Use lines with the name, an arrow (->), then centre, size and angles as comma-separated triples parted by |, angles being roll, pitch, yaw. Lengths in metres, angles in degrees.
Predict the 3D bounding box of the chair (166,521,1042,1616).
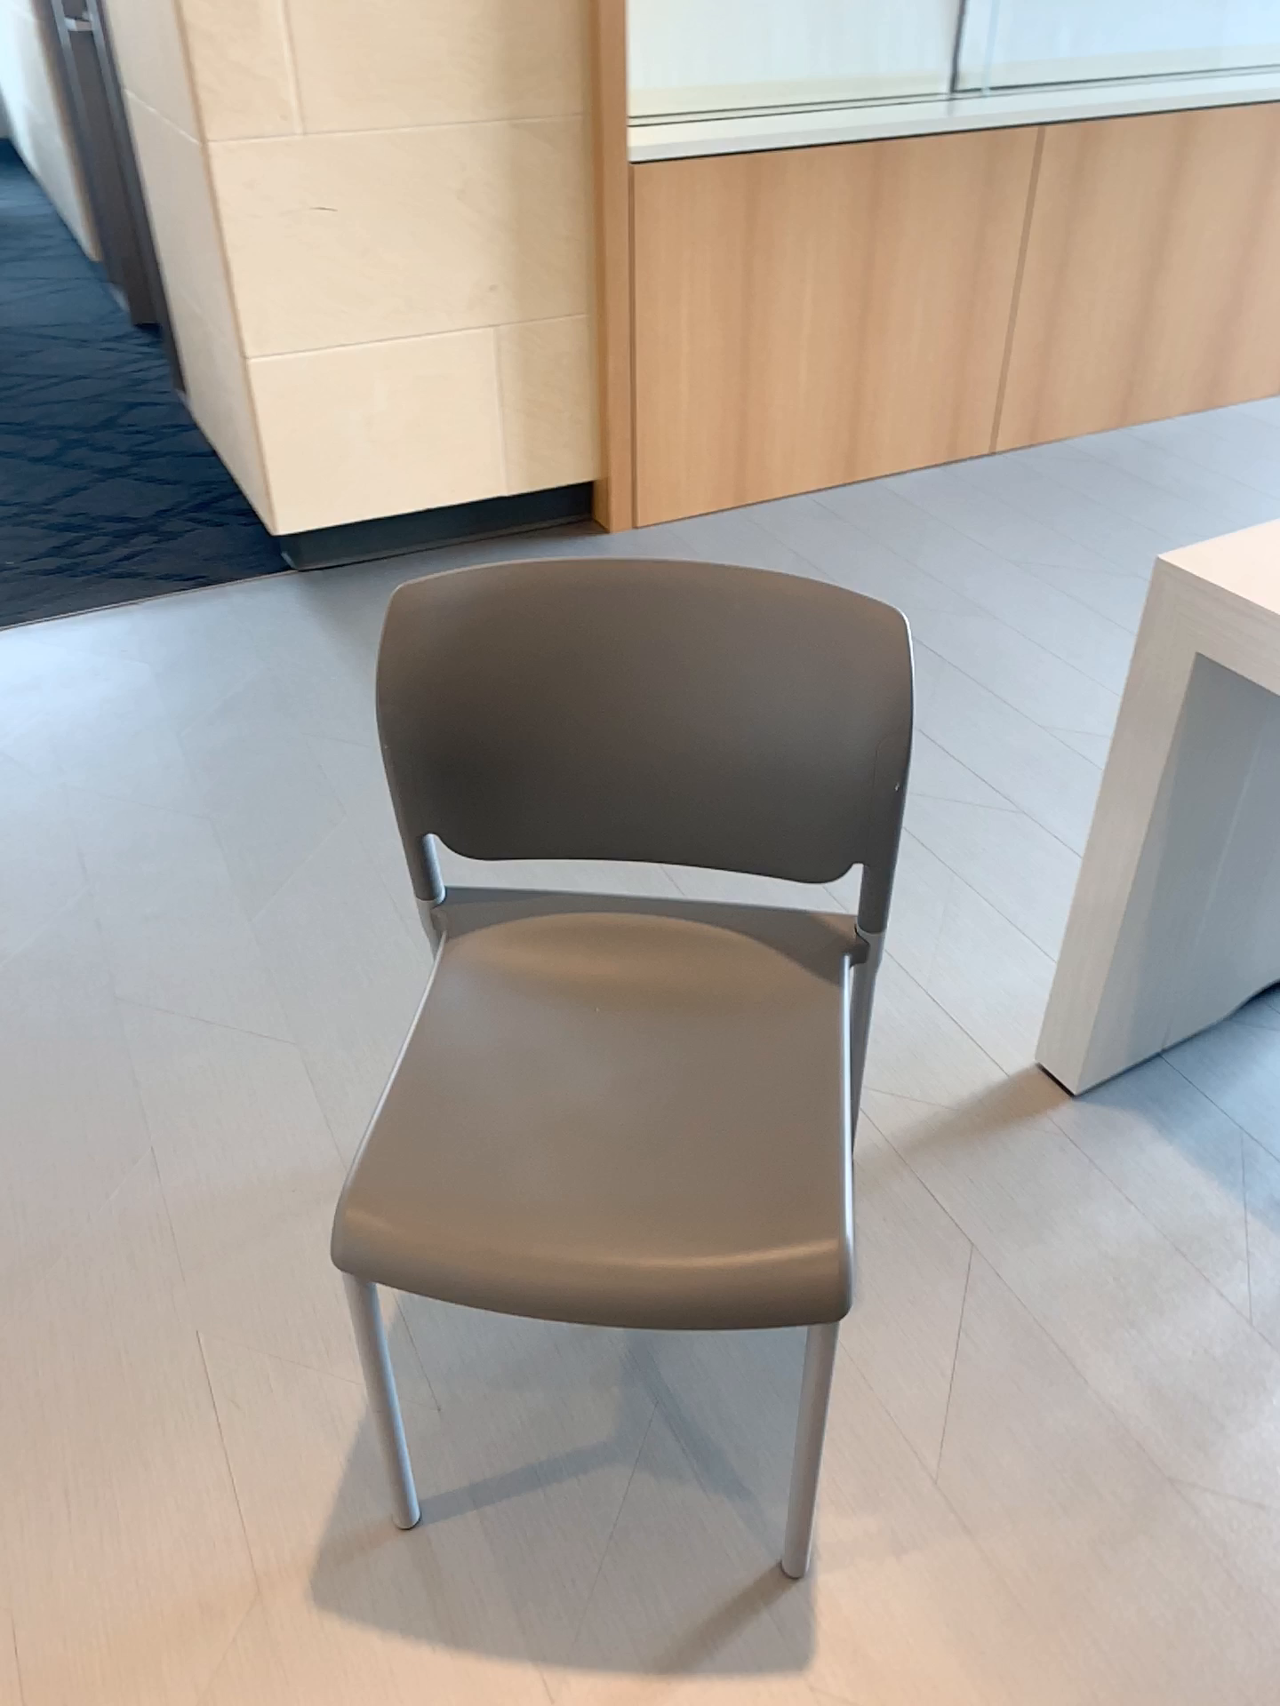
chair -> 0.003, 0.190, 1.201 | 0.500, 0.783, 0.575 | 3, 36, 5
